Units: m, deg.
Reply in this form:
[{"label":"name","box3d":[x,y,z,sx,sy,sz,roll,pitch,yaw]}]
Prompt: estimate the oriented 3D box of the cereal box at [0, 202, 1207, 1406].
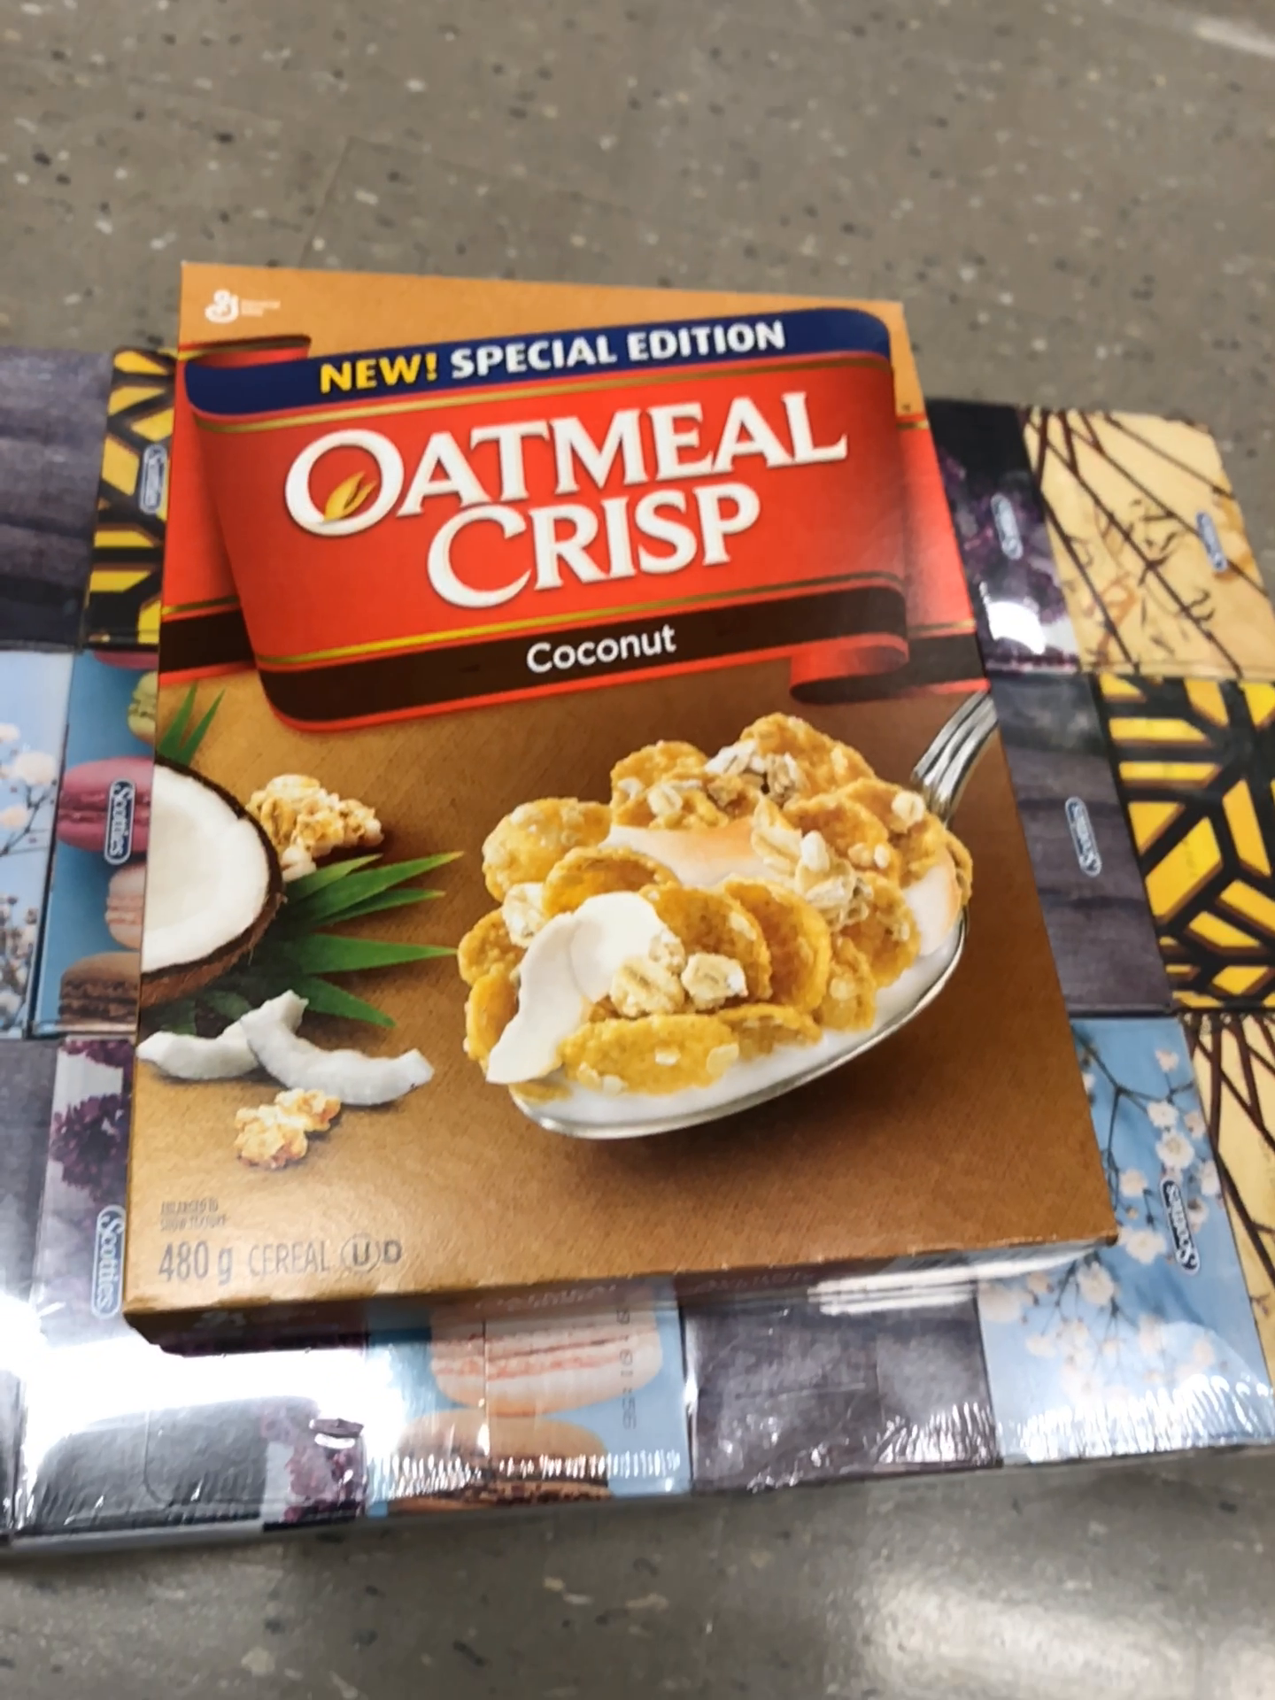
[{"label":"cereal box","box3d":[-0.014,-0.031,0.343,0.210,0.060,0.290,-1,61,-6]}]
